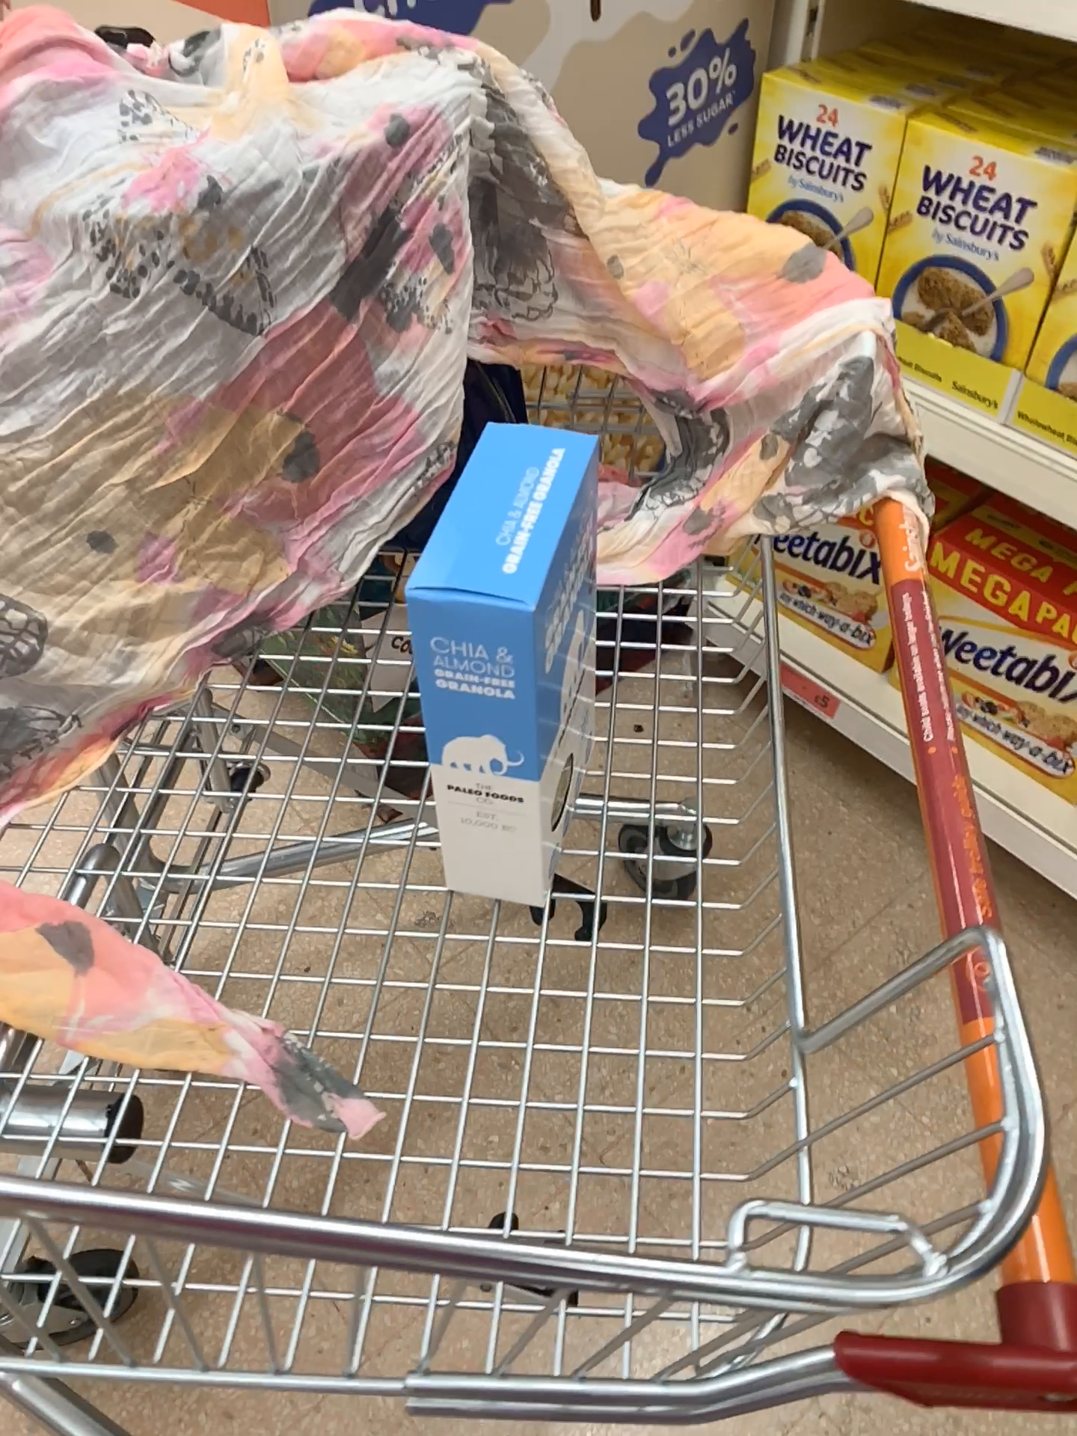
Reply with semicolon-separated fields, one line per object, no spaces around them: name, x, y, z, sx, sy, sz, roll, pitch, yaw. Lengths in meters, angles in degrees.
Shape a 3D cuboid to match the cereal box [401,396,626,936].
cereal box;-0.003;-0.020;0.520;0.060;0.208;0.141;8;46;10
